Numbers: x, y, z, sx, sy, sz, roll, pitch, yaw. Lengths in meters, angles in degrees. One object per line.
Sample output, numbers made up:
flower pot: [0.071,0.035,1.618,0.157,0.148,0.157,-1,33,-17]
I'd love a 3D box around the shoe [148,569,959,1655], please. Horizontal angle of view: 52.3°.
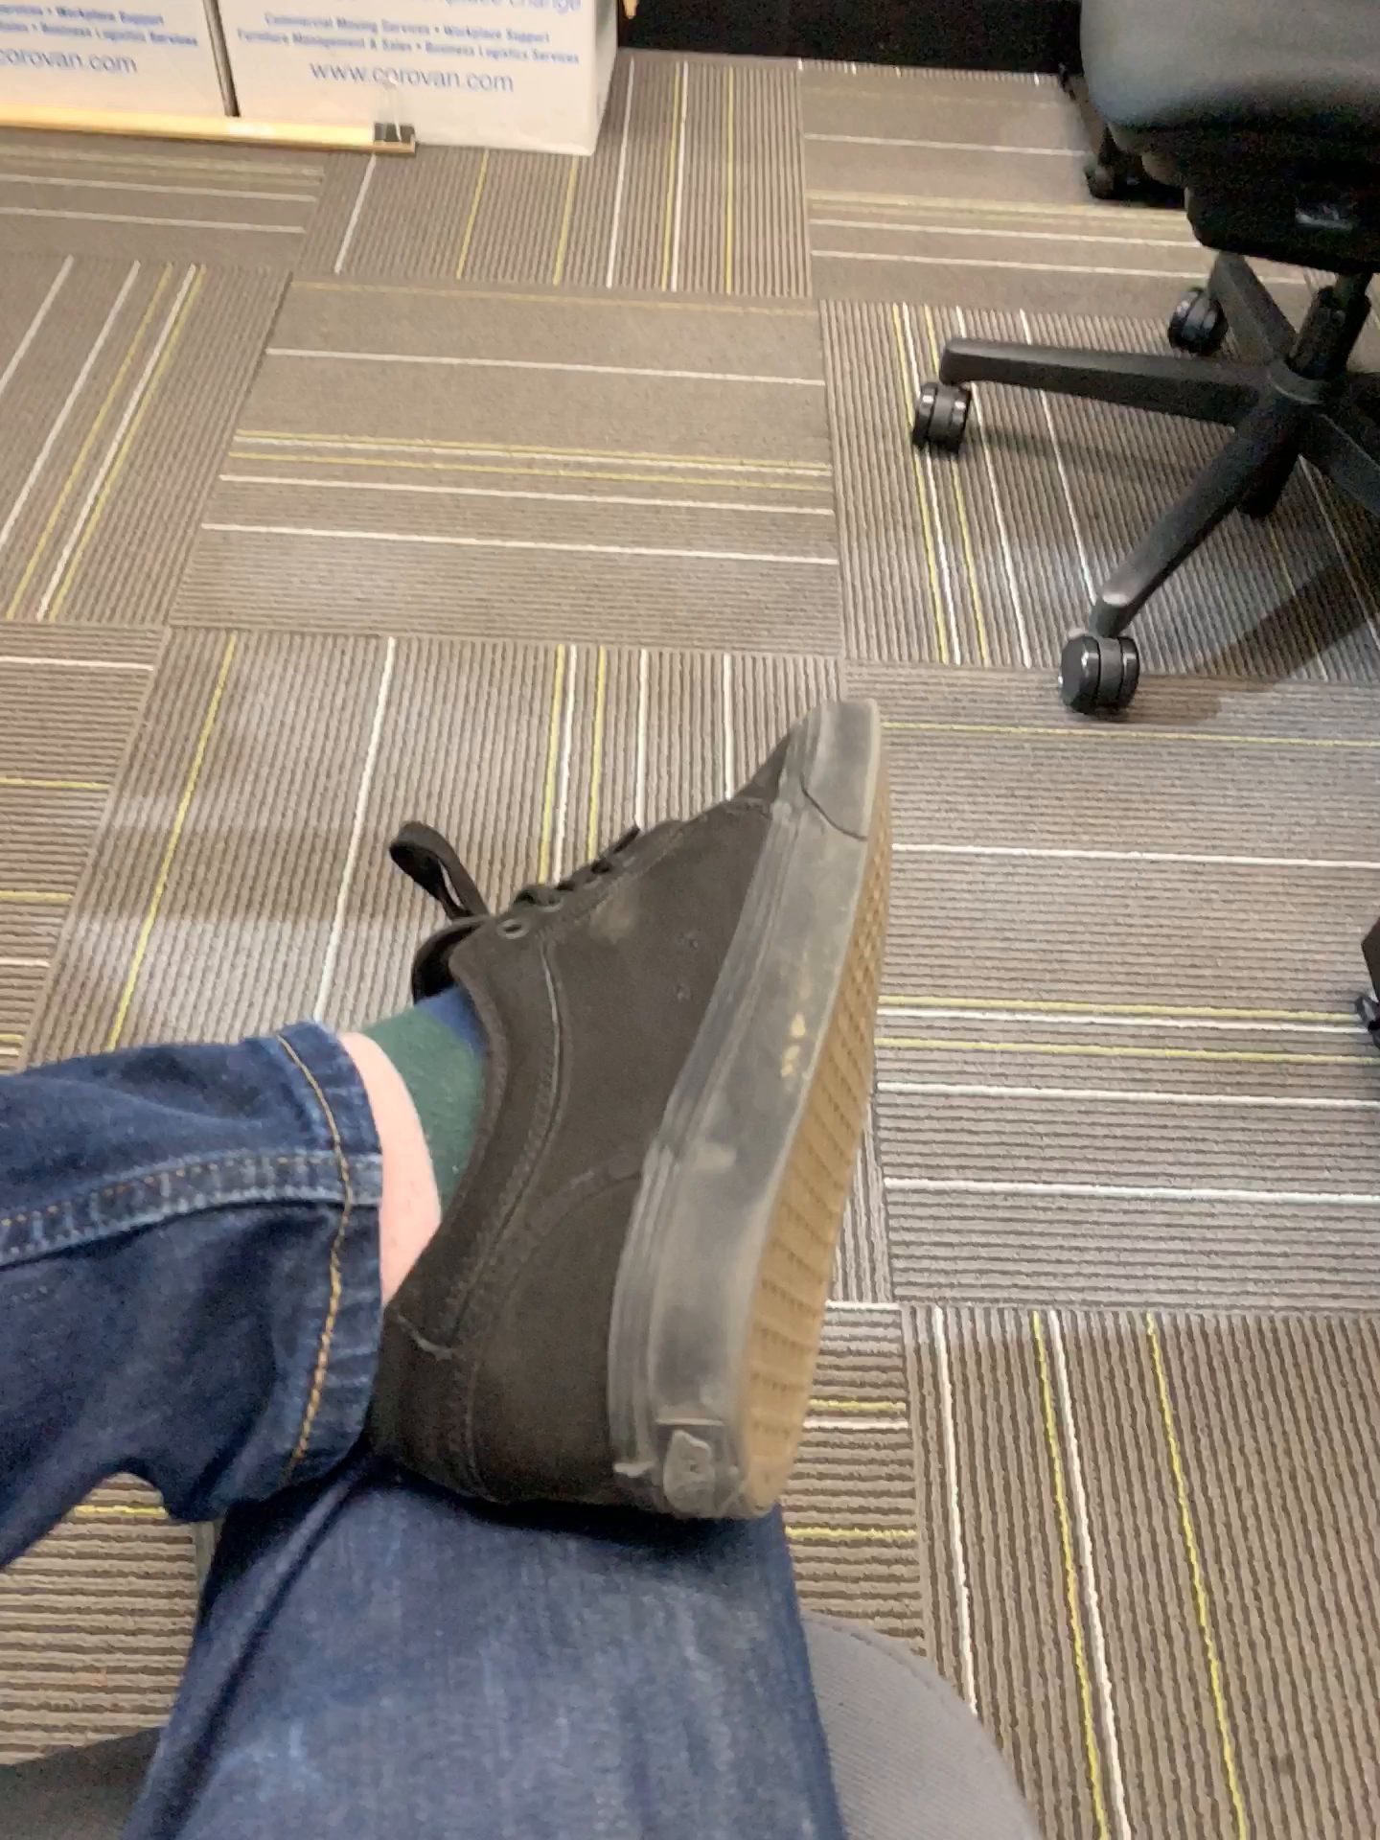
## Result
shoe: [-0.010,0.036,0.394,0.134,0.120,0.261,7,52,12]
